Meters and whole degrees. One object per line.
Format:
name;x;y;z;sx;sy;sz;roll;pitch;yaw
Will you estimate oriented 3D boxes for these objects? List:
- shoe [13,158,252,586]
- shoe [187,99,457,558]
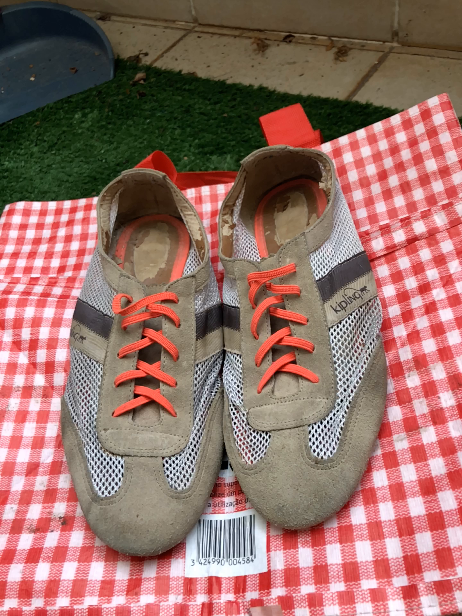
shoe;-0.052;0.020;0.297;0.100;0.050;0.241;-2;61;-6
shoe;0.036;0.005;0.282;0.100;0.050;0.231;-18;60;23
